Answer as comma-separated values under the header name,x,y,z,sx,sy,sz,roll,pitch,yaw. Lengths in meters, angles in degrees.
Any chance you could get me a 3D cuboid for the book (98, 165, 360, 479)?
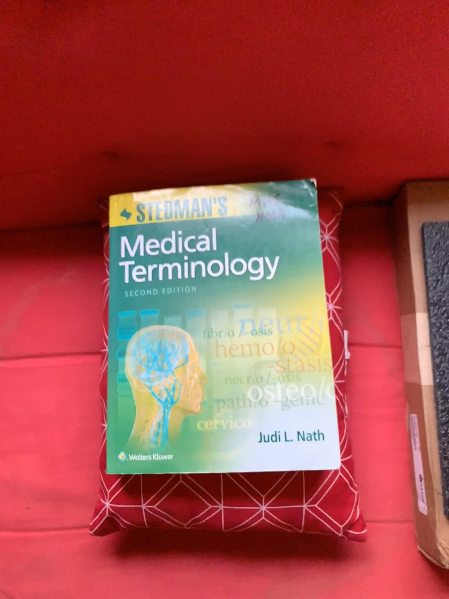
name,x,y,z,sx,sy,sz,roll,pitch,yaw
book,-0.002,0.018,0.473,0.240,0.040,0.300,-3,79,3
